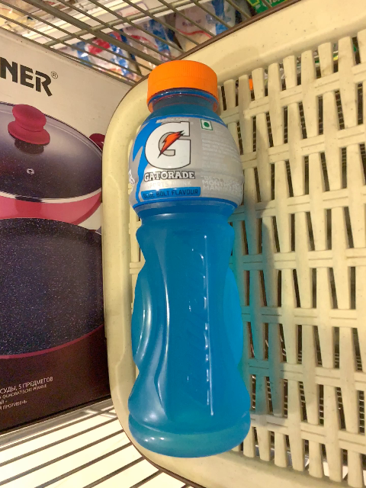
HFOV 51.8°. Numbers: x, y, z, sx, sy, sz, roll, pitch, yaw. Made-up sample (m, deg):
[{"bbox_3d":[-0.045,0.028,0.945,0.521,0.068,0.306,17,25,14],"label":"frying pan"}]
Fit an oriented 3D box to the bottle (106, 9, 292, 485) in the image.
[{"bbox_3d":[0.011,0.001,0.208,0.080,0.060,0.210,-3,87,21],"label":"bottle"}]
